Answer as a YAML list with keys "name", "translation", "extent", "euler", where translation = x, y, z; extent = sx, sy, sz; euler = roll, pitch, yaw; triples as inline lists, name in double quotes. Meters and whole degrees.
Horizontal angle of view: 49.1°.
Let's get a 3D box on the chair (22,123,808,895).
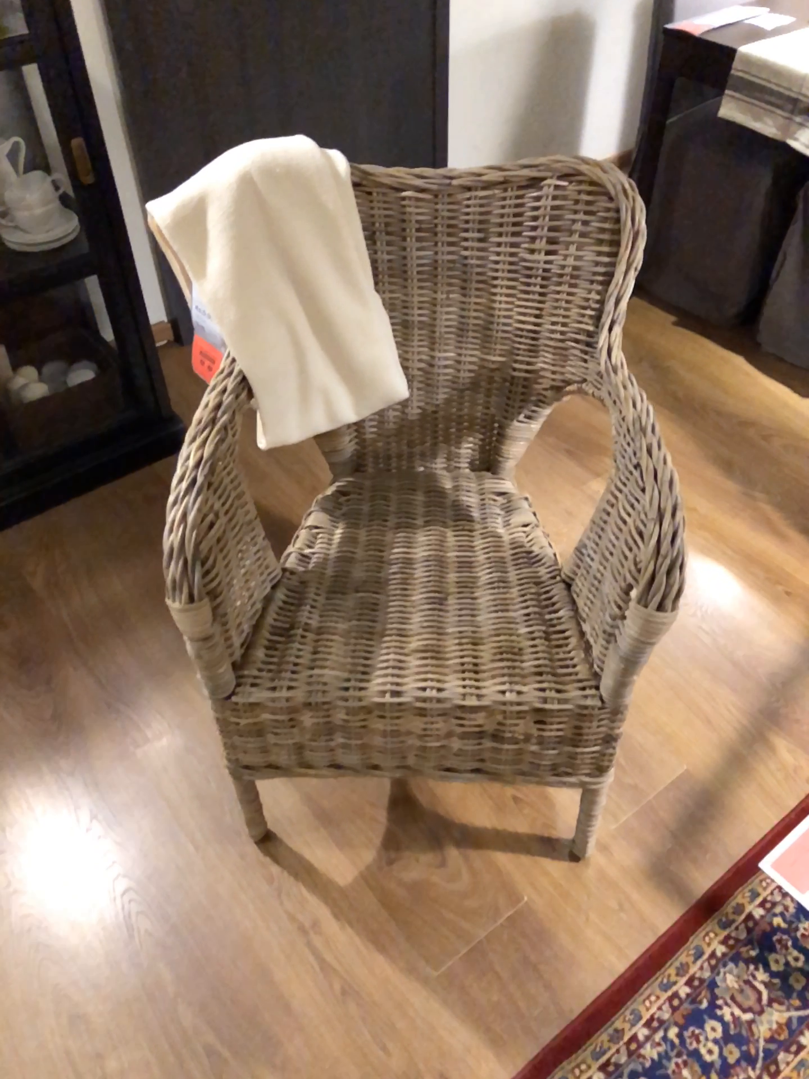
- name: "chair"
  translation: [0.028, -0.020, 1.194]
  extent: [0.620, 0.814, 0.634]
  euler: [1, 44, 2]
